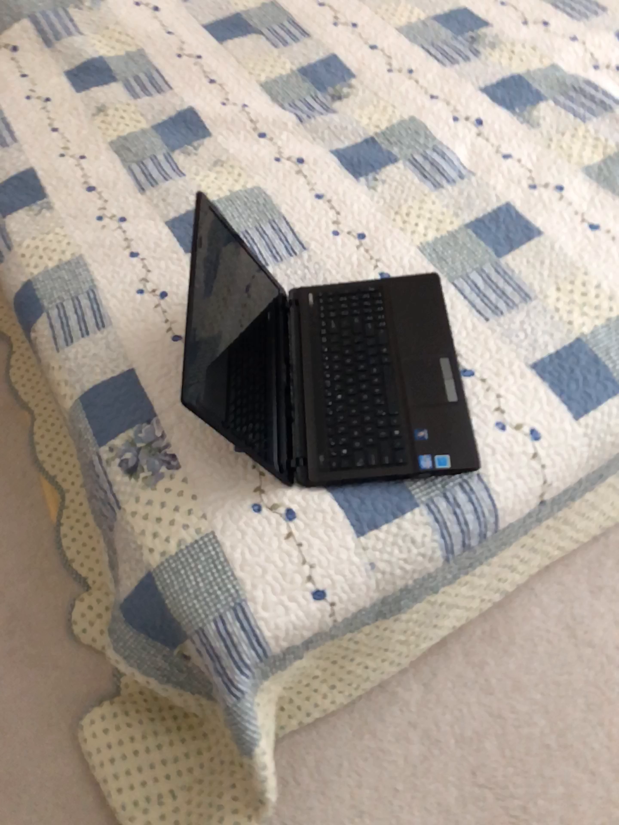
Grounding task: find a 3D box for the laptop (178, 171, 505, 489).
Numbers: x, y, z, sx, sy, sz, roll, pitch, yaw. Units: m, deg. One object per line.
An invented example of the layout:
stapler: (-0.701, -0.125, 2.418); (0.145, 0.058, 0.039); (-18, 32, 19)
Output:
laptop: (0.032, -0.116, 0.906); (0.350, 0.193, 0.359); (-4, 55, 1)
